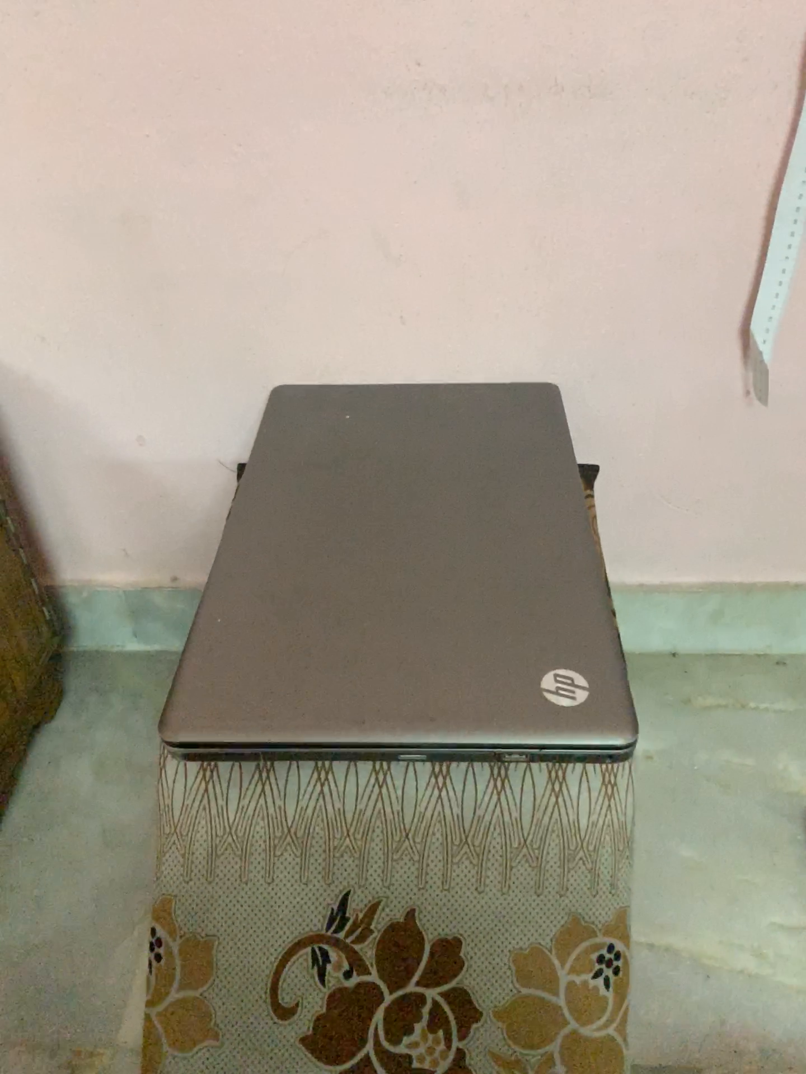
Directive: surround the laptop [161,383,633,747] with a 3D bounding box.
[{"bbox_3d":[0.003,-0.013,0.579,0.249,0.002,0.381,0,40,3],"label":"laptop"}]
